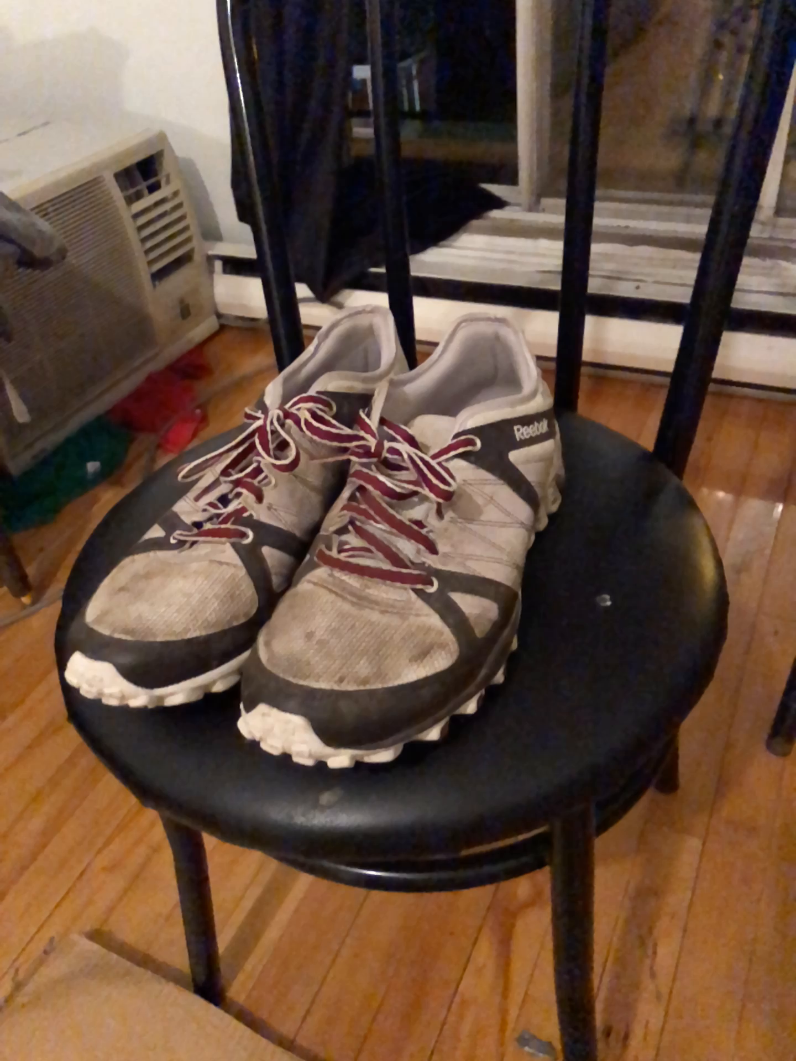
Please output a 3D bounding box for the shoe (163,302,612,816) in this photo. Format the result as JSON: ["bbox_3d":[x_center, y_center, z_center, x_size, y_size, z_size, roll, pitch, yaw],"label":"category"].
[{"bbox_3d":[0.018,-0.011,0.458,0.110,0.089,0.282,13,43,23],"label":"shoe"}]

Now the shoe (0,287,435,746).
[{"bbox_3d":[-0.087,-0.030,0.485,0.110,0.089,0.272,13,43,23],"label":"shoe"}]
